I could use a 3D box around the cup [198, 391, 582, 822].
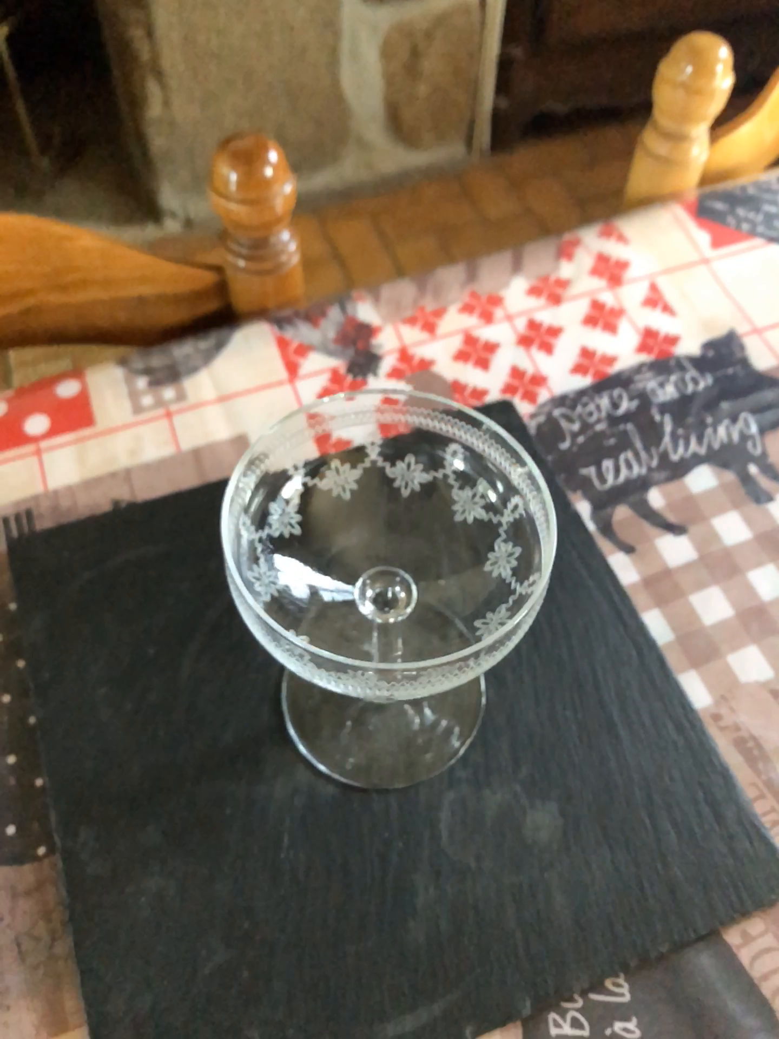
[{"bbox_3d":[-0.002,0.033,0.280,0.090,0.119,0.090,1,56,-1],"label":"cup"}]
